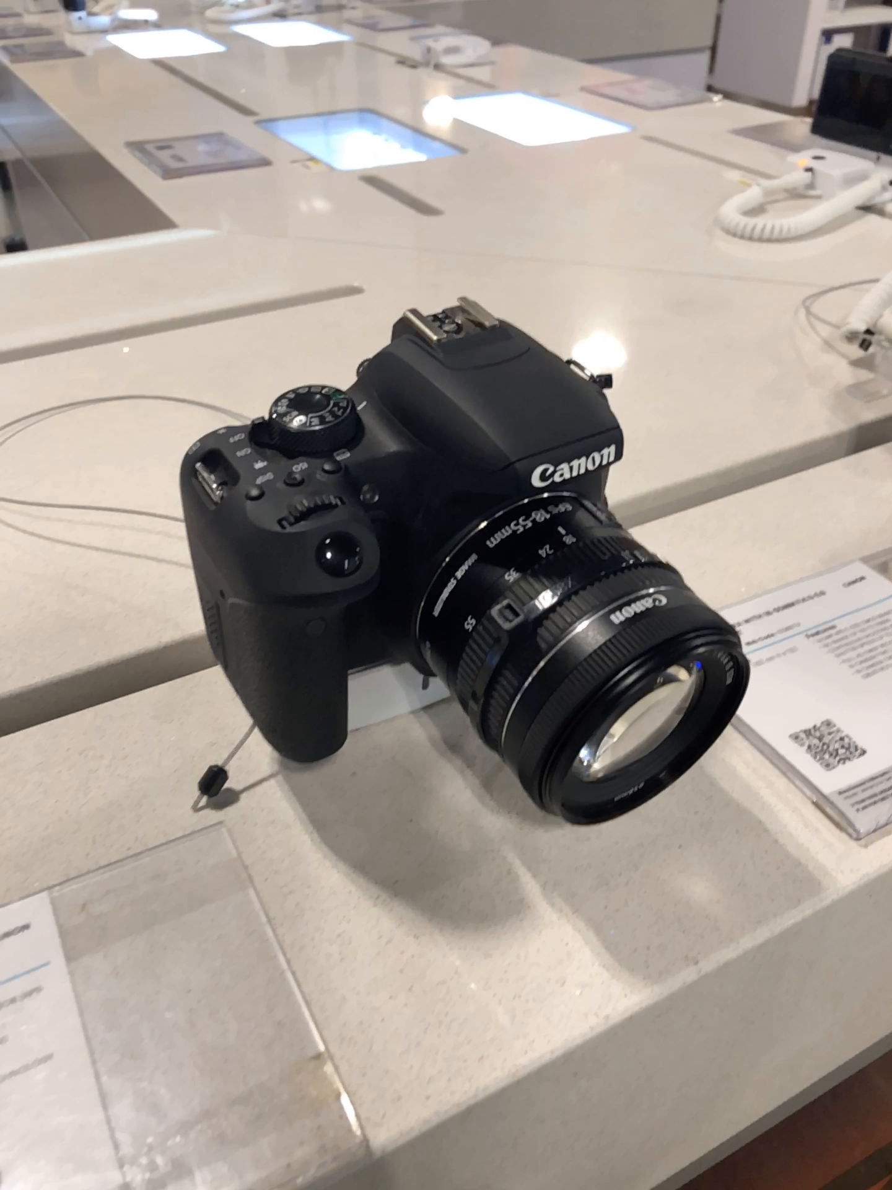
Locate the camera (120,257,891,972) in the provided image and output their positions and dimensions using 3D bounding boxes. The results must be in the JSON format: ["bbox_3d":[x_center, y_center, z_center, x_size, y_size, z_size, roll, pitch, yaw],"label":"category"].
[{"bbox_3d":[0.011,-0.011,0.267,0.140,0.099,0.131,-21,42,-25],"label":"camera"}]
